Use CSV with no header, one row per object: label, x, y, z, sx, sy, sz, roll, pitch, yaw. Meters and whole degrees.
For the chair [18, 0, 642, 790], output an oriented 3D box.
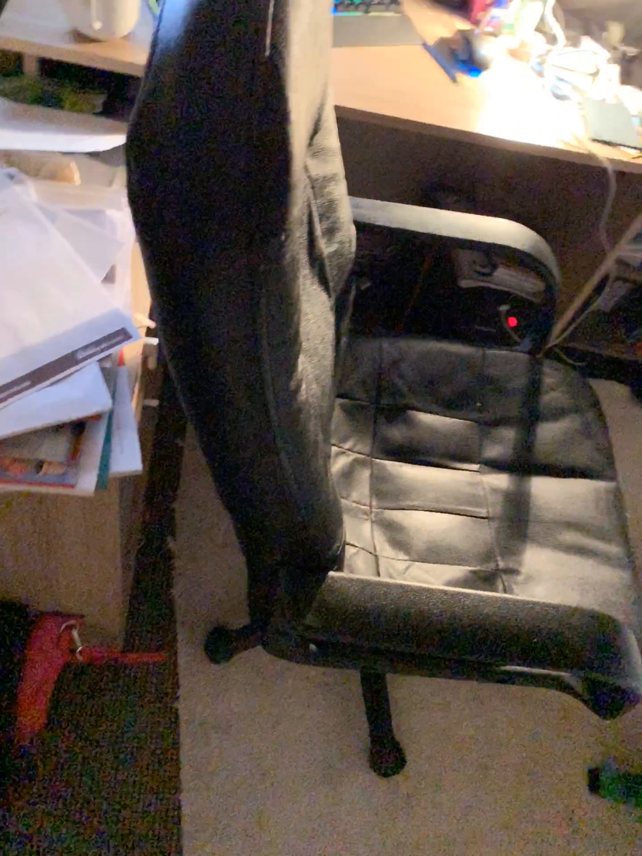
chair,0.151,0.030,0.896,0.650,1.161,0.715,5,56,-7
